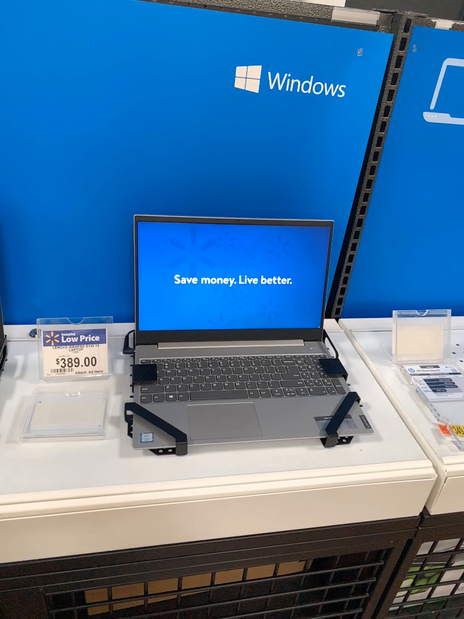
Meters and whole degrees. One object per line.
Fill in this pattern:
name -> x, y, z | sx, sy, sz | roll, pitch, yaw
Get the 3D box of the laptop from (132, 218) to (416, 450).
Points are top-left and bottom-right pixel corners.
laptop -> 0.027, 0.015, 0.744 | 0.350, 0.217, 0.299 | -1, 32, -10
